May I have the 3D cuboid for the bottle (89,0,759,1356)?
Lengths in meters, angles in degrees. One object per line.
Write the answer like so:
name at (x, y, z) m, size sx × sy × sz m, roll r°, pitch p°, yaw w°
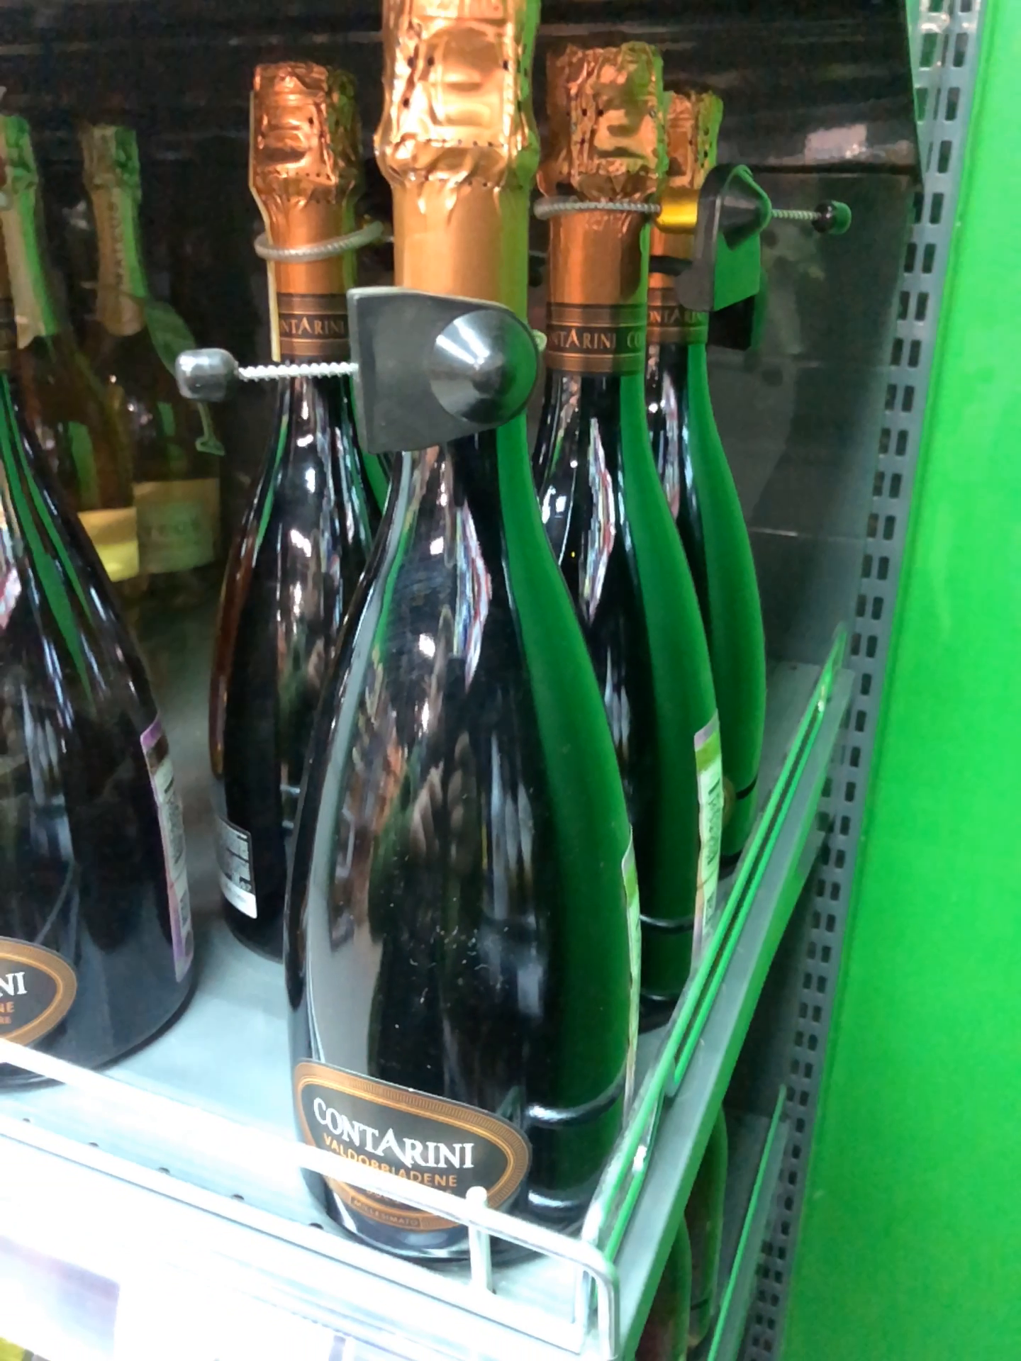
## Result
bottle at (-0.013, -0.006, 0.274) m, size 0.100 × 0.299 × 0.100 m, roll 1°, pitch 20°, yaw 0°
